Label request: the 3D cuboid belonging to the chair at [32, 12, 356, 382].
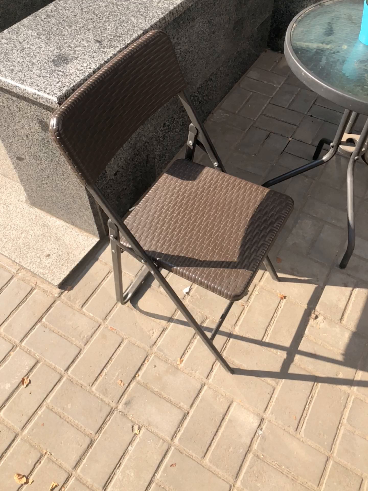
[{"bbox_3d":[0.042,-0.066,1.070,0.460,0.787,0.431,23,57,17],"label":"chair"}]
